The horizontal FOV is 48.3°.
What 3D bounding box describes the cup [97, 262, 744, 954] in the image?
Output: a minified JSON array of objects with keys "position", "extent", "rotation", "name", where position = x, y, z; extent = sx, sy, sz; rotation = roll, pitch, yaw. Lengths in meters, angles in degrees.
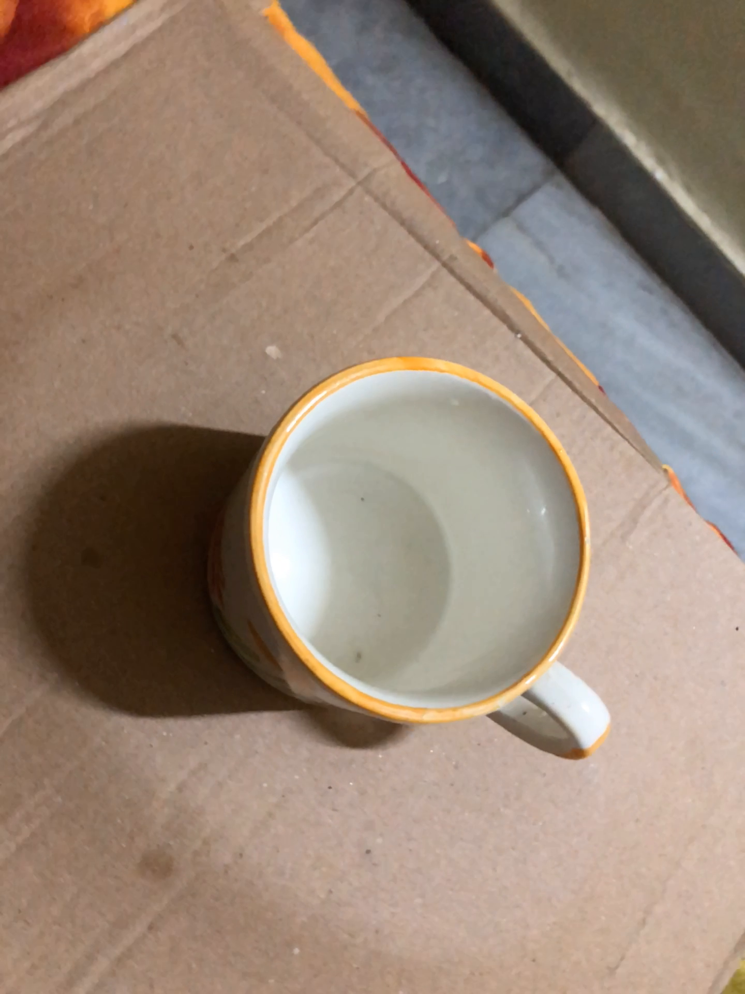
[{"position":[0.009,0.028,0.210],"extent":[0.120,0.080,0.090],"rotation":[39,67,-5],"name":"cup"}]
